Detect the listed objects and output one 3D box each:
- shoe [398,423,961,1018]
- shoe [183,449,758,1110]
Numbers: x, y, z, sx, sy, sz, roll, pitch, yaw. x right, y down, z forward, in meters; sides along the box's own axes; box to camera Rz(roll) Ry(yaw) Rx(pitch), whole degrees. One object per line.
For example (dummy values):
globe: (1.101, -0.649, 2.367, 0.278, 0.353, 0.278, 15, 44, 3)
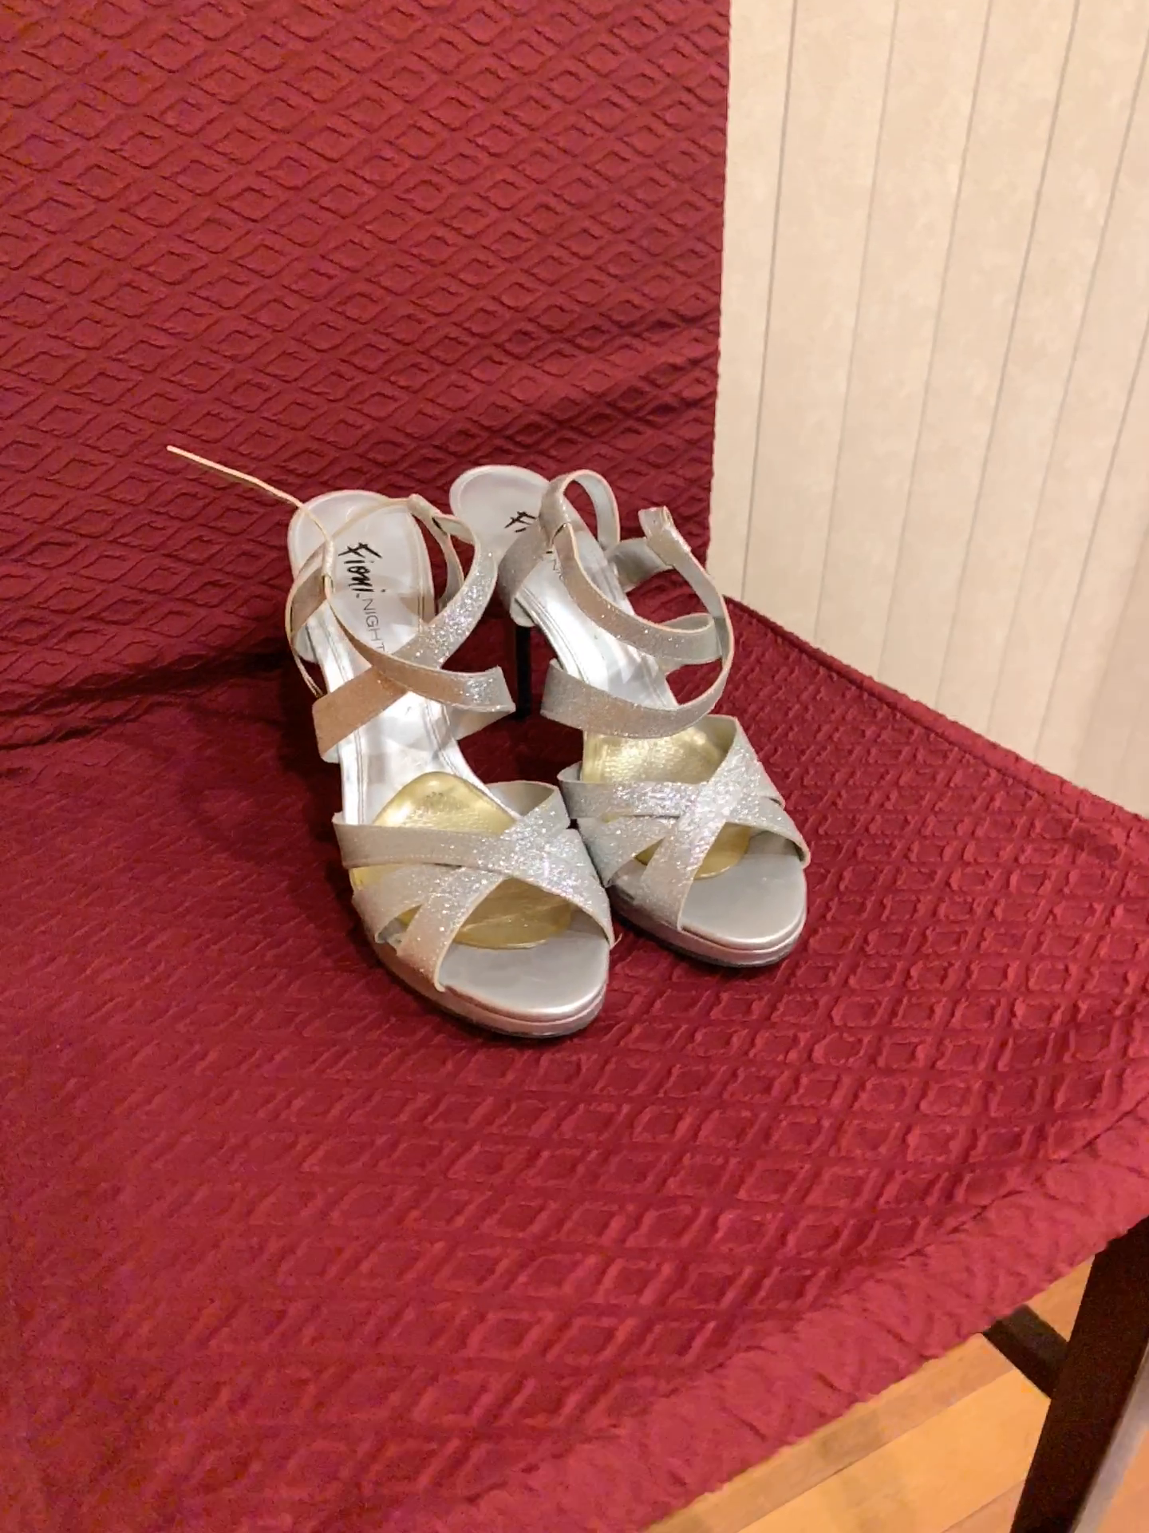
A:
shoe: (0.024, -0.034, 0.463, 0.100, 0.119, 0.221, -18, 39, -23)
shoe: (-0.050, -0.014, 0.435, 0.100, 0.119, 0.231, -20, 40, -25)
